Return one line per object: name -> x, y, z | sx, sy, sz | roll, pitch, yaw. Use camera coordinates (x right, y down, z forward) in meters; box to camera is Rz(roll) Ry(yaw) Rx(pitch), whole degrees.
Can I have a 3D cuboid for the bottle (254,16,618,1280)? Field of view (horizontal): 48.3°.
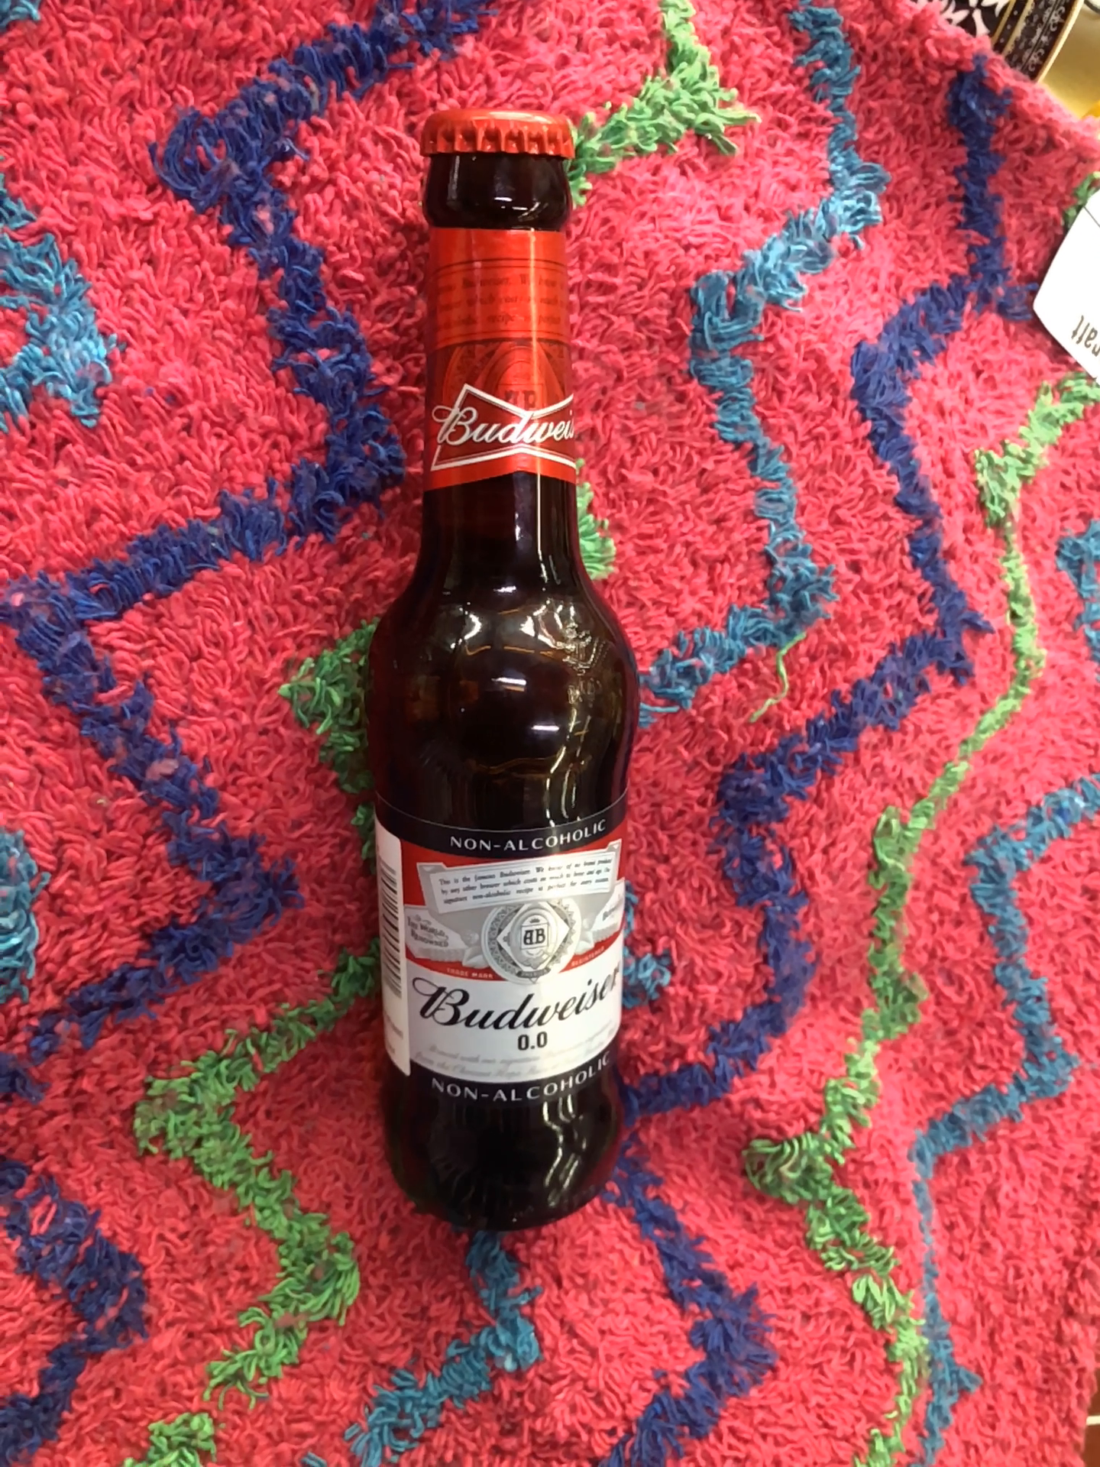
bottle -> -0.022, -0.008, 0.269 | 0.060, 0.050, 0.250 | -6, 107, -16
